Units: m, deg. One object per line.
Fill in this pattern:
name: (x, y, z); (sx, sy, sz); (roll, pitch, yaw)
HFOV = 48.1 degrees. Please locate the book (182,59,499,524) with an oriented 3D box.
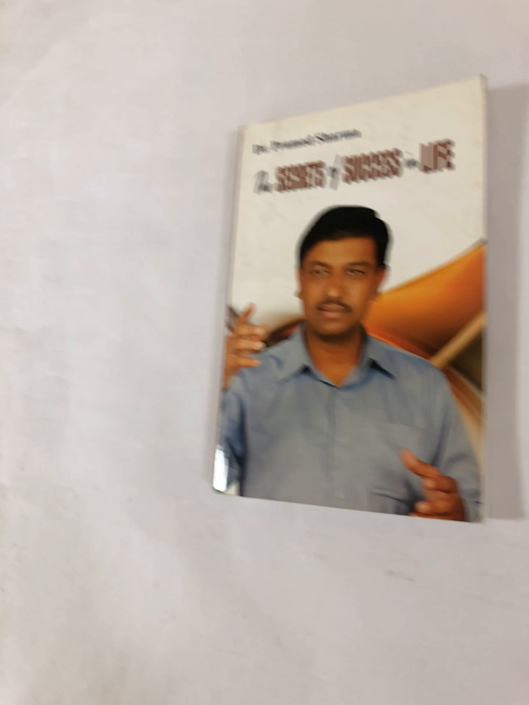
book: (0.035, -0.030, 0.299); (0.151, 0.020, 0.210); (-2, 79, 25)
